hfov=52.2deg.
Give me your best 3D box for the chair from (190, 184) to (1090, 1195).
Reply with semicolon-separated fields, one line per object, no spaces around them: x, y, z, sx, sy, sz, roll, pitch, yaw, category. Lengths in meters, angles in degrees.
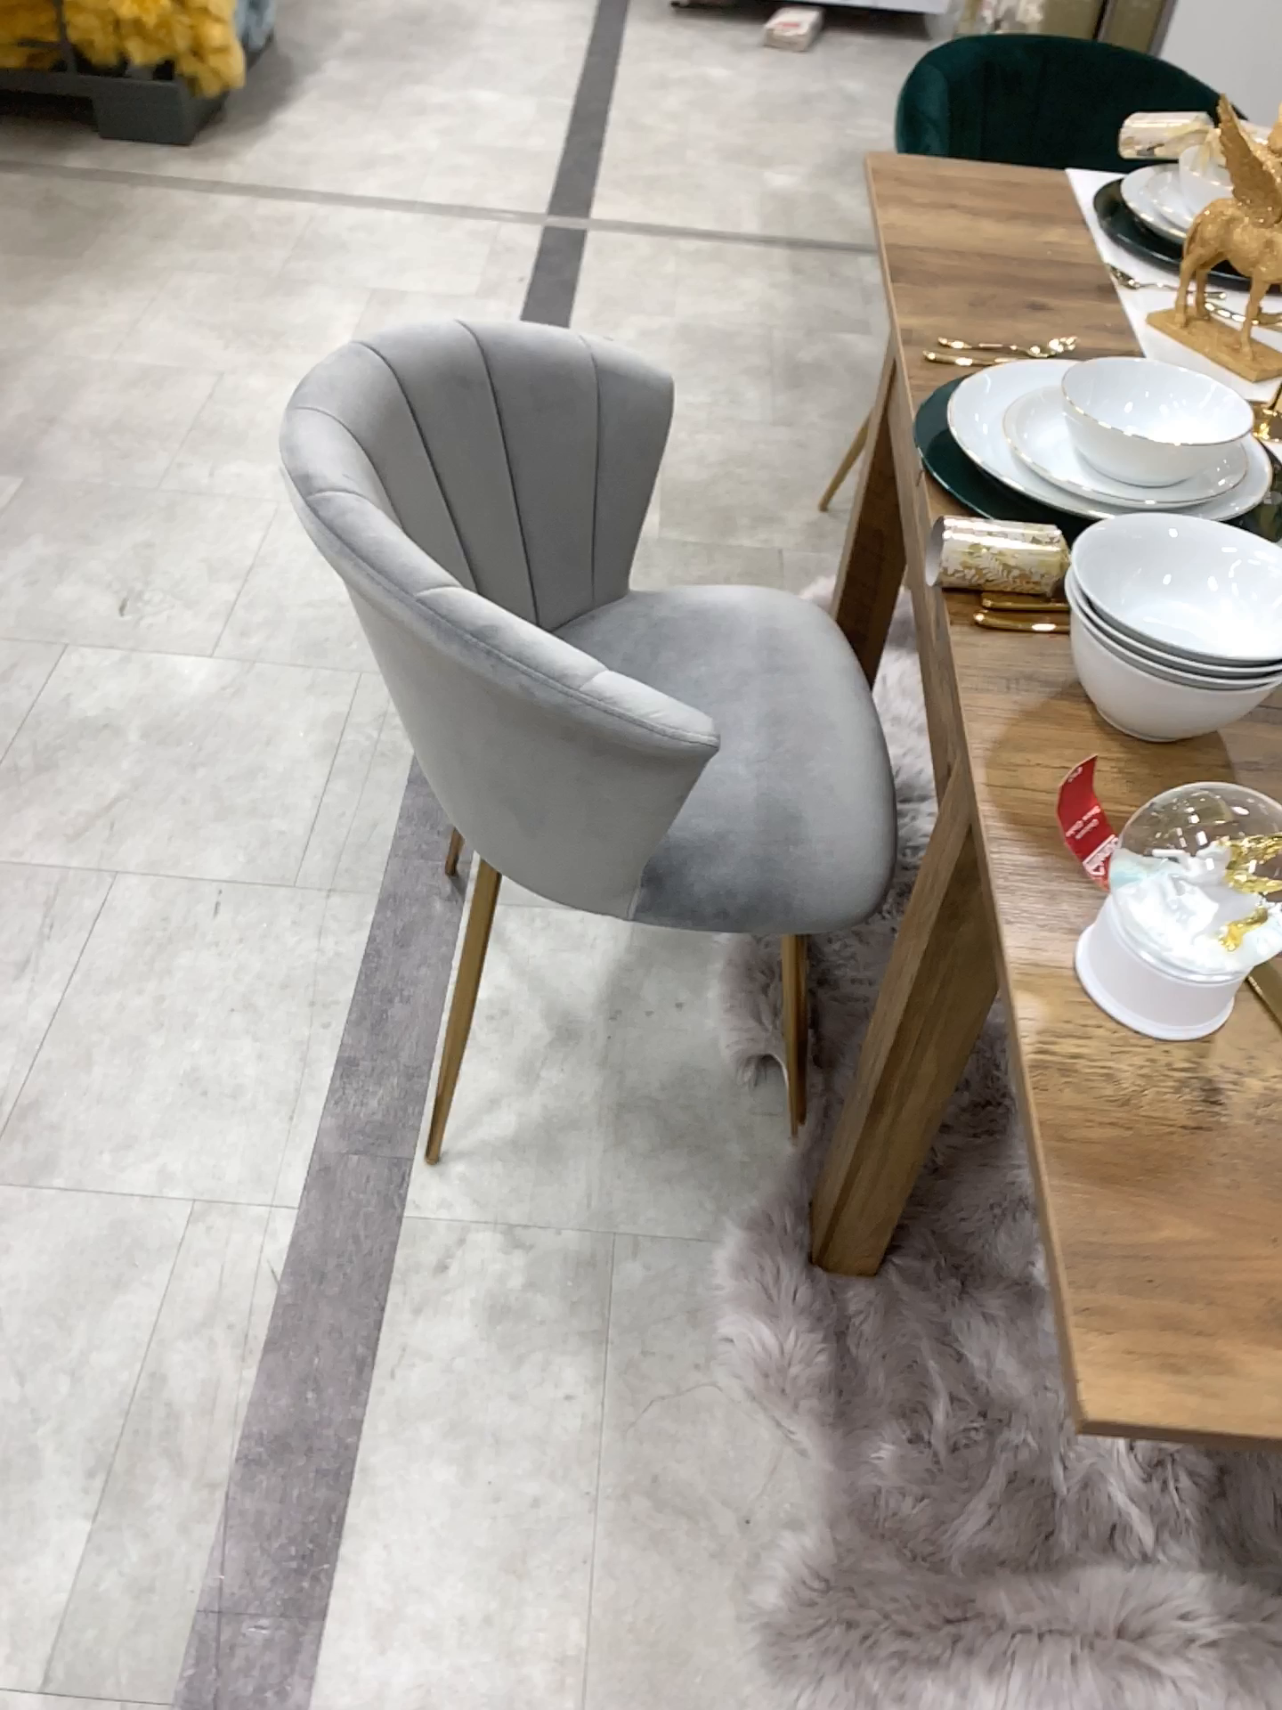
-0.026;-0.142;1.273;0.550;0.709;0.637;2;46;-4;chair
